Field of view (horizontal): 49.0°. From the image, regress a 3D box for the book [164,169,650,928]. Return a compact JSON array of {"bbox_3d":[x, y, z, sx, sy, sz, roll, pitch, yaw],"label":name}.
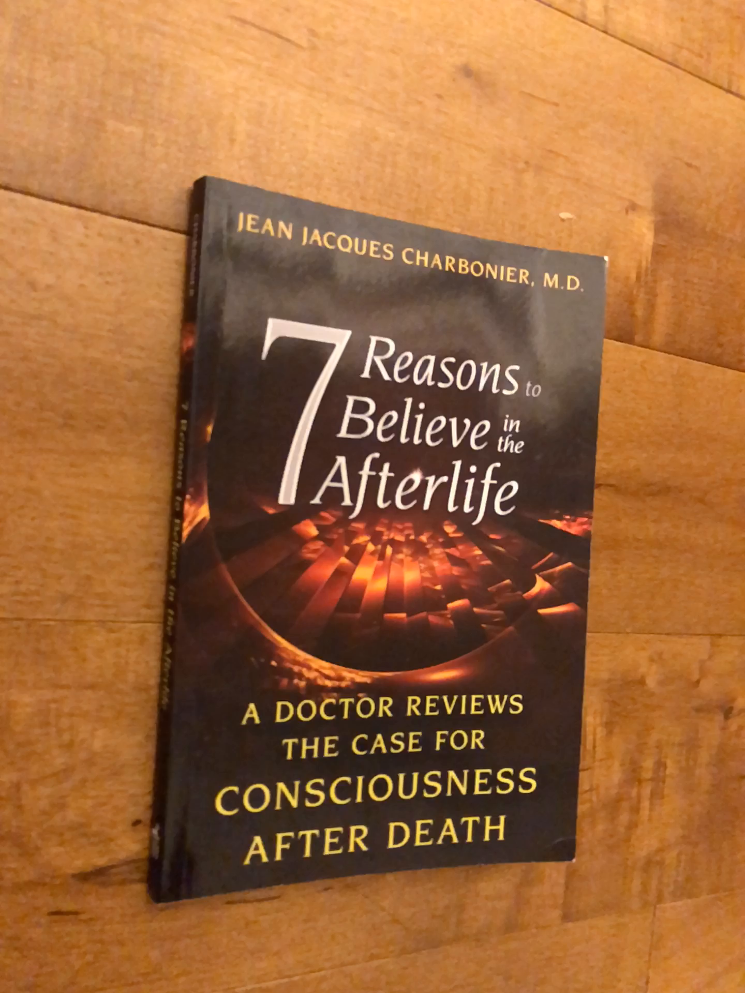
[{"bbox_3d":[0.018,0.023,0.313,0.170,0.030,0.250,4,90,-21],"label":"book"}]
